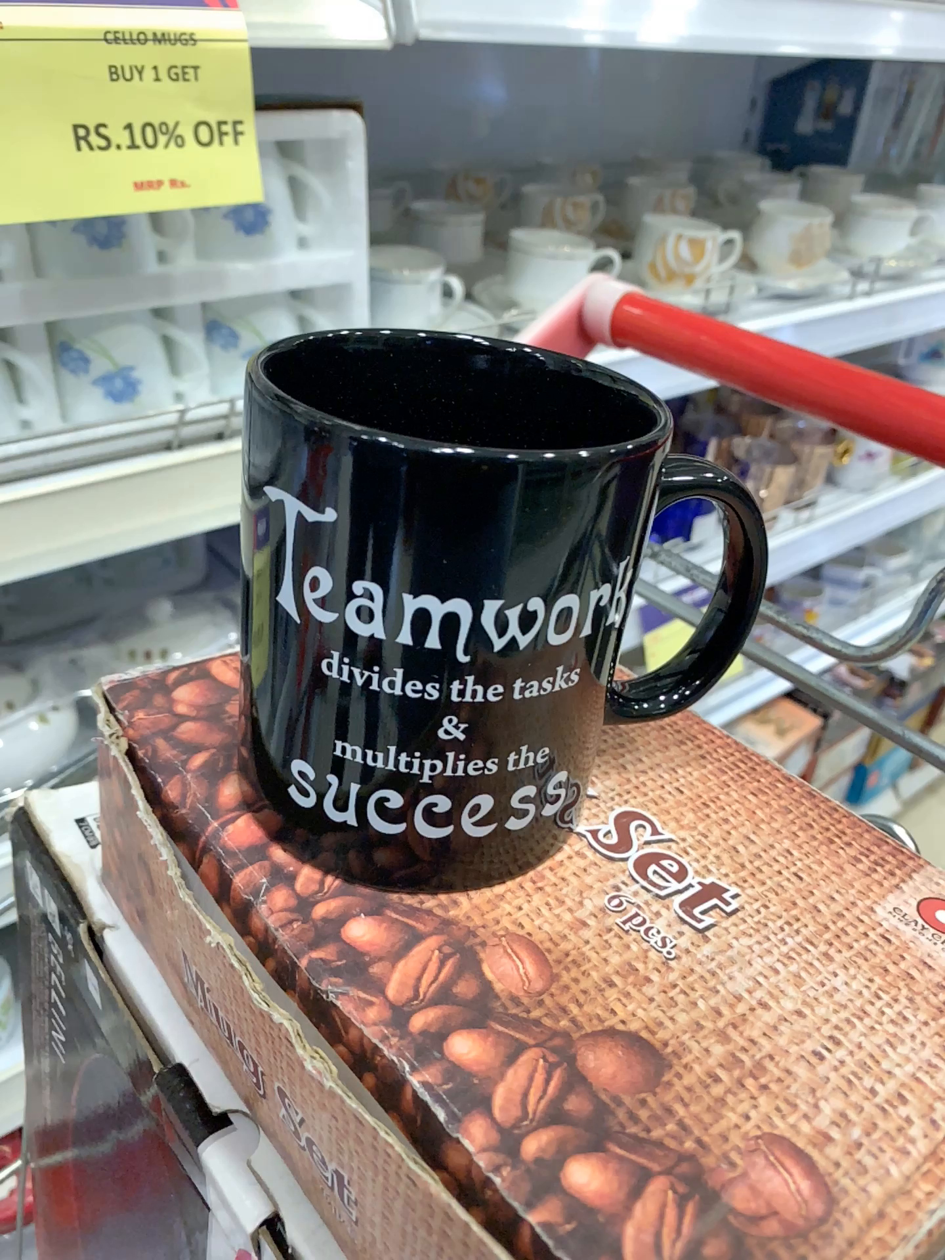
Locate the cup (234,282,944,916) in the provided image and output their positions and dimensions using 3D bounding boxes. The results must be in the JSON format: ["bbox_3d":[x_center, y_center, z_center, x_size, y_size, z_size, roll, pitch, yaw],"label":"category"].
[{"bbox_3d":[0.013,-0.007,0.214,0.120,0.100,0.080,2,33,-17],"label":"cup"}]
